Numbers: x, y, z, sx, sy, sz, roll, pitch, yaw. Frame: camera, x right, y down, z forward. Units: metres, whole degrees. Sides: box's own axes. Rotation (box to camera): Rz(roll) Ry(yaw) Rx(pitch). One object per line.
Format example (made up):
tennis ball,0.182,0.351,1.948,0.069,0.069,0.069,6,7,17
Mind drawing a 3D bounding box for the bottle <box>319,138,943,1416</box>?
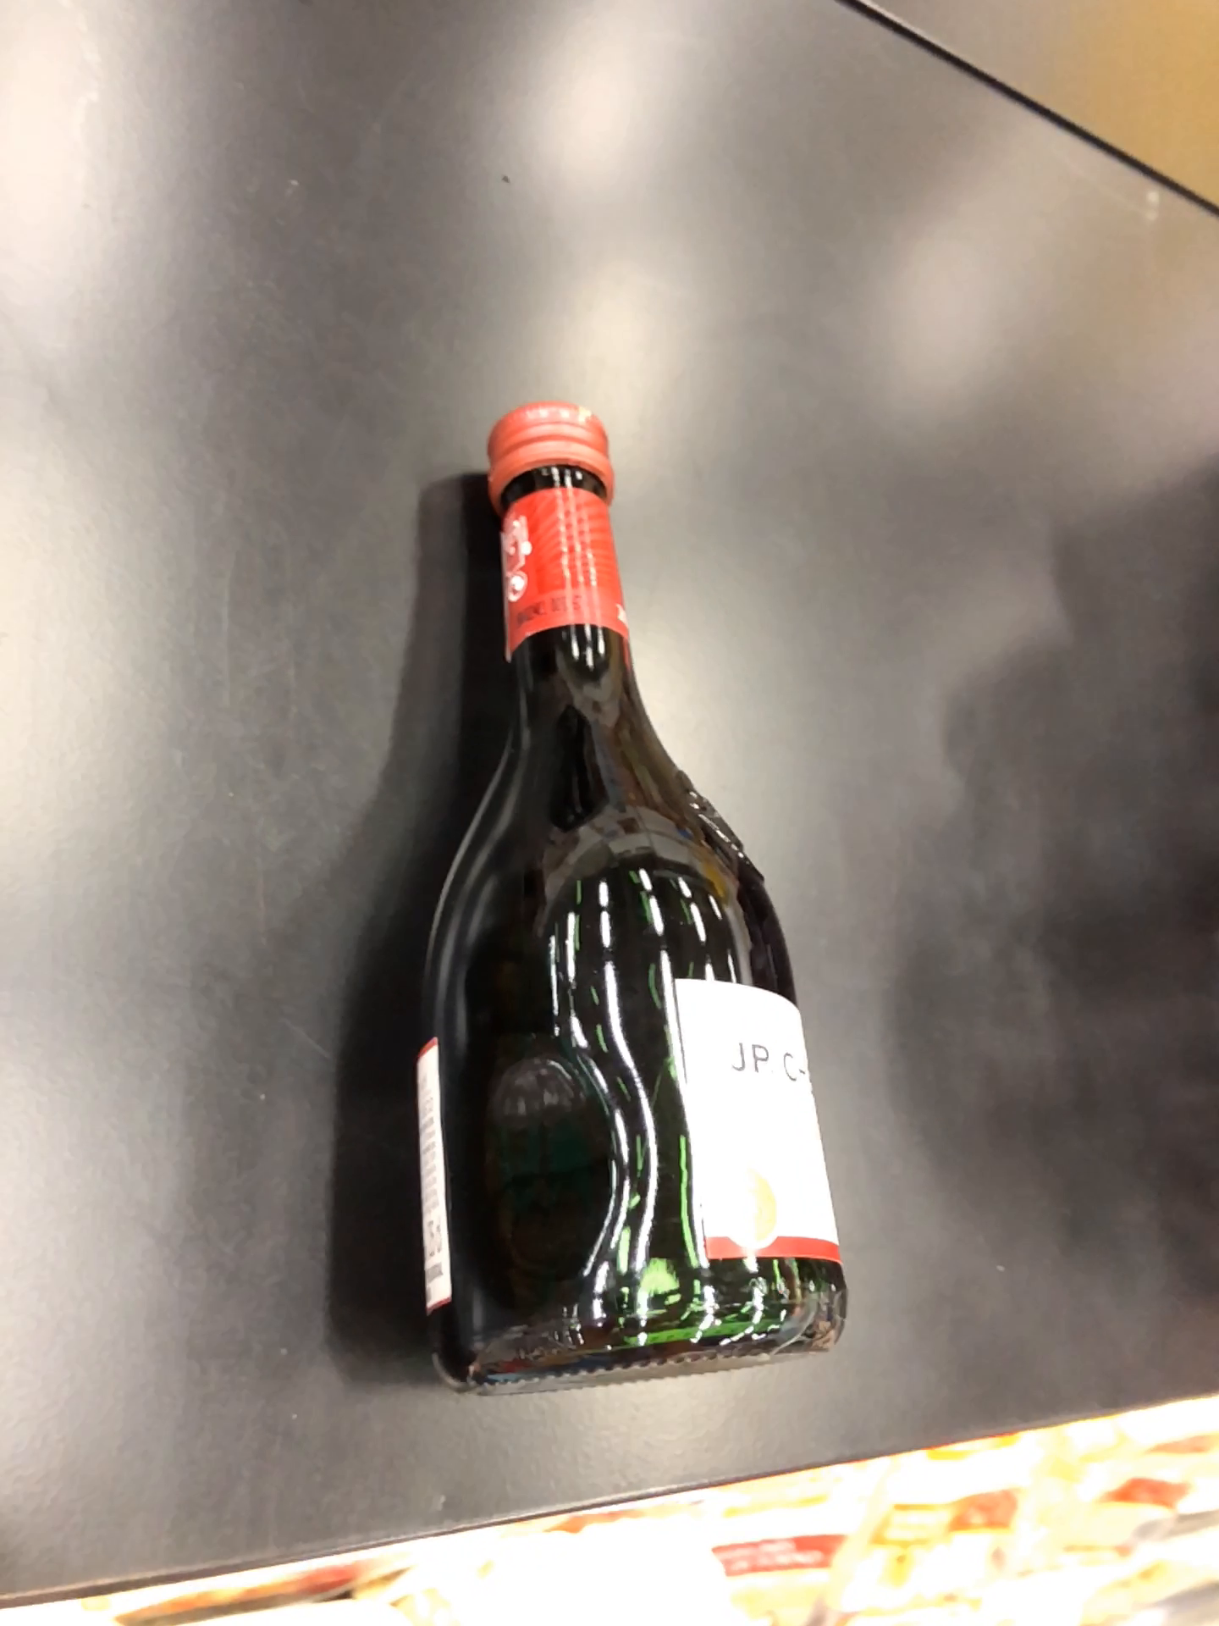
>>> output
bottle,-0.005,-0.007,0.238,0.070,0.060,0.200,8,65,-32
